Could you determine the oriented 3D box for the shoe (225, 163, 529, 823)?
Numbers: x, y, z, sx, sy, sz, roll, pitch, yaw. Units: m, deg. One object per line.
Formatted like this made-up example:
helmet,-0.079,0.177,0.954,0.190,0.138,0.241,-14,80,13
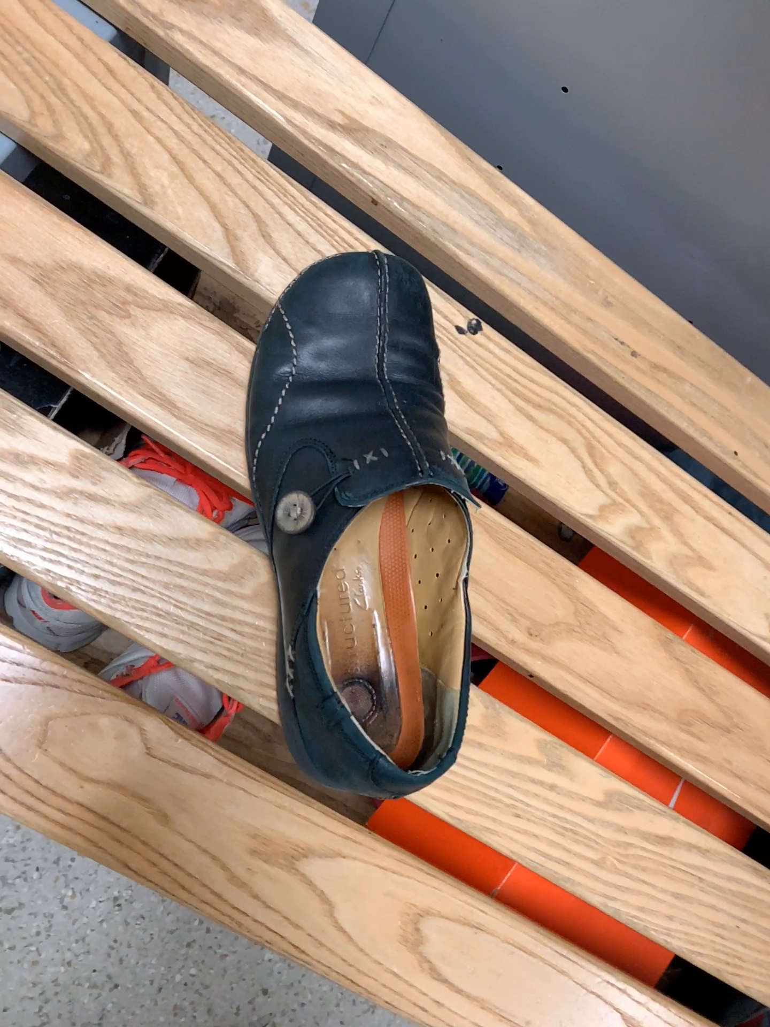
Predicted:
shoe,-0.011,-0.012,0.366,0.104,0.075,0.268,-2,82,-19
